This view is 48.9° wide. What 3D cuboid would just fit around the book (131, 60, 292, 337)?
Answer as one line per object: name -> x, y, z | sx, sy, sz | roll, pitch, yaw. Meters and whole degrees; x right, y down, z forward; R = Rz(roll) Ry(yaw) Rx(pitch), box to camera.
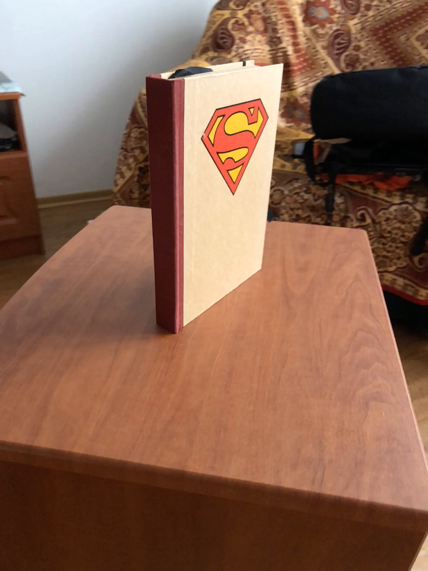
book -> 0.003, -0.083, 0.423 | 0.041, 0.203, 0.163 | 21, 36, 29
